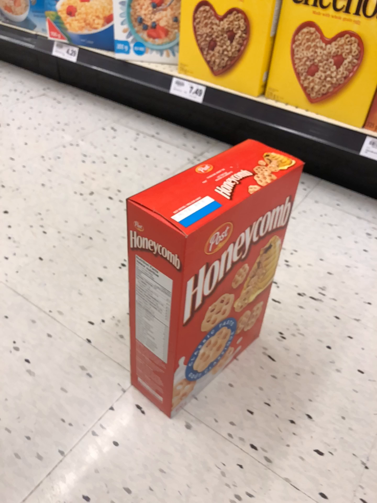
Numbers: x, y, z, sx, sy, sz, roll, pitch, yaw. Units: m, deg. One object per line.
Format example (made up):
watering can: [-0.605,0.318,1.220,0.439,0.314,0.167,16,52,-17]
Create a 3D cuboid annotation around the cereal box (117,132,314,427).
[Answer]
cereal box: [0.025,0.039,0.499,0.080,0.298,0.201,33,47,29]
